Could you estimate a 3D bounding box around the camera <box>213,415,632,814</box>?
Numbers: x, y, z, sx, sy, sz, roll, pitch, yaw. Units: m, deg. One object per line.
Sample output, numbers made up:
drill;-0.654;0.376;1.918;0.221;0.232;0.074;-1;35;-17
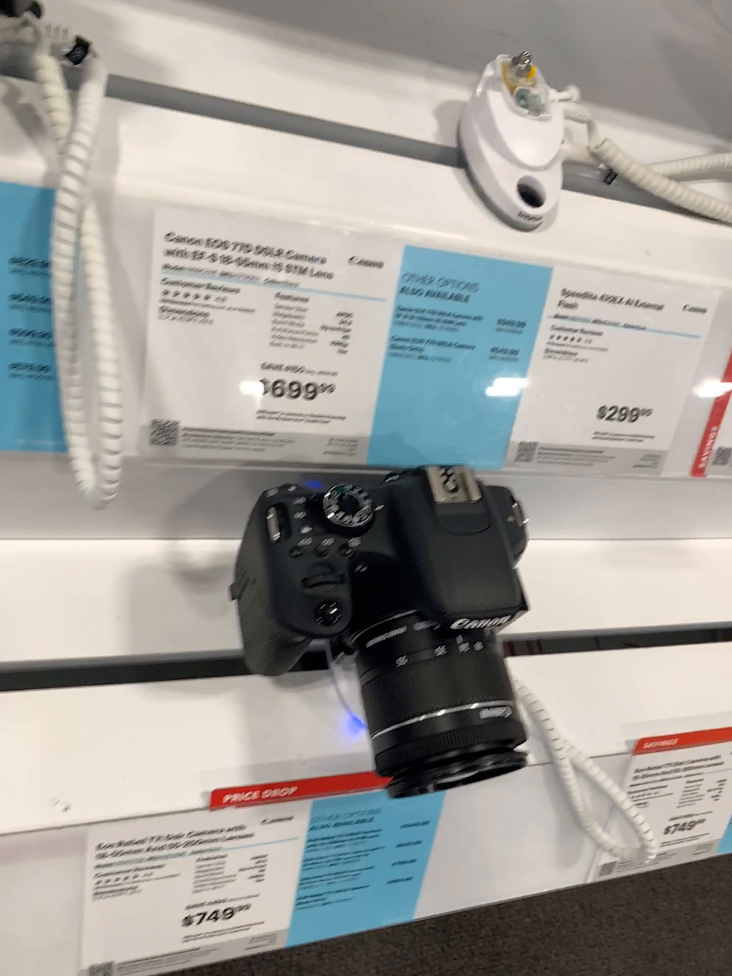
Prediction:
camera;0.012;0.053;0.339;0.130;0.100;0.138;-3;62;-22
